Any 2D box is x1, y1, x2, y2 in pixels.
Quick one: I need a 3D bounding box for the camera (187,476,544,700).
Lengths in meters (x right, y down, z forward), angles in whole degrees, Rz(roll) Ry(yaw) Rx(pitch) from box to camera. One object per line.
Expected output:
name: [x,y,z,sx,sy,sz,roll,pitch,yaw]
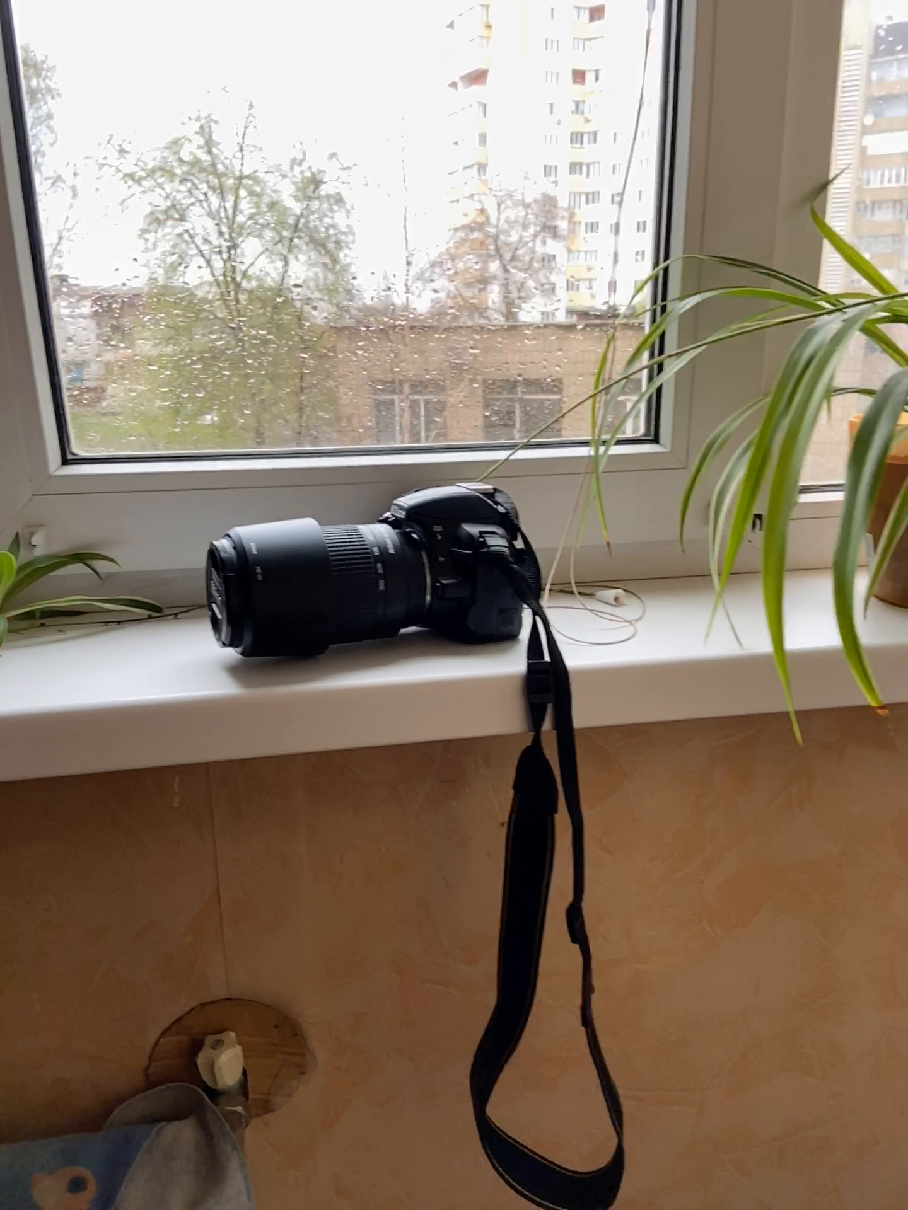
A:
camera: [-0.057,-0.021,0.591,0.190,0.089,0.125,-9,19,-24]
